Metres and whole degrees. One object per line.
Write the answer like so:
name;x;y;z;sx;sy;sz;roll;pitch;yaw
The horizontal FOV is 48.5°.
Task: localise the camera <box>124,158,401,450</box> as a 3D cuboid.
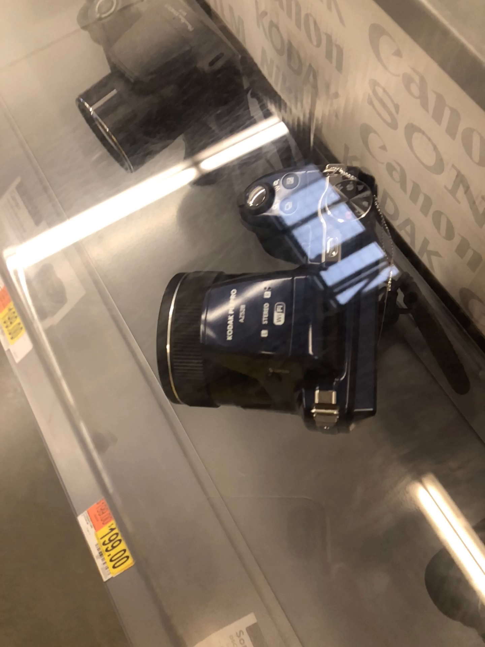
camera;0.016;-0.005;0.275;0.110;0.090;0.120;2;70;7
